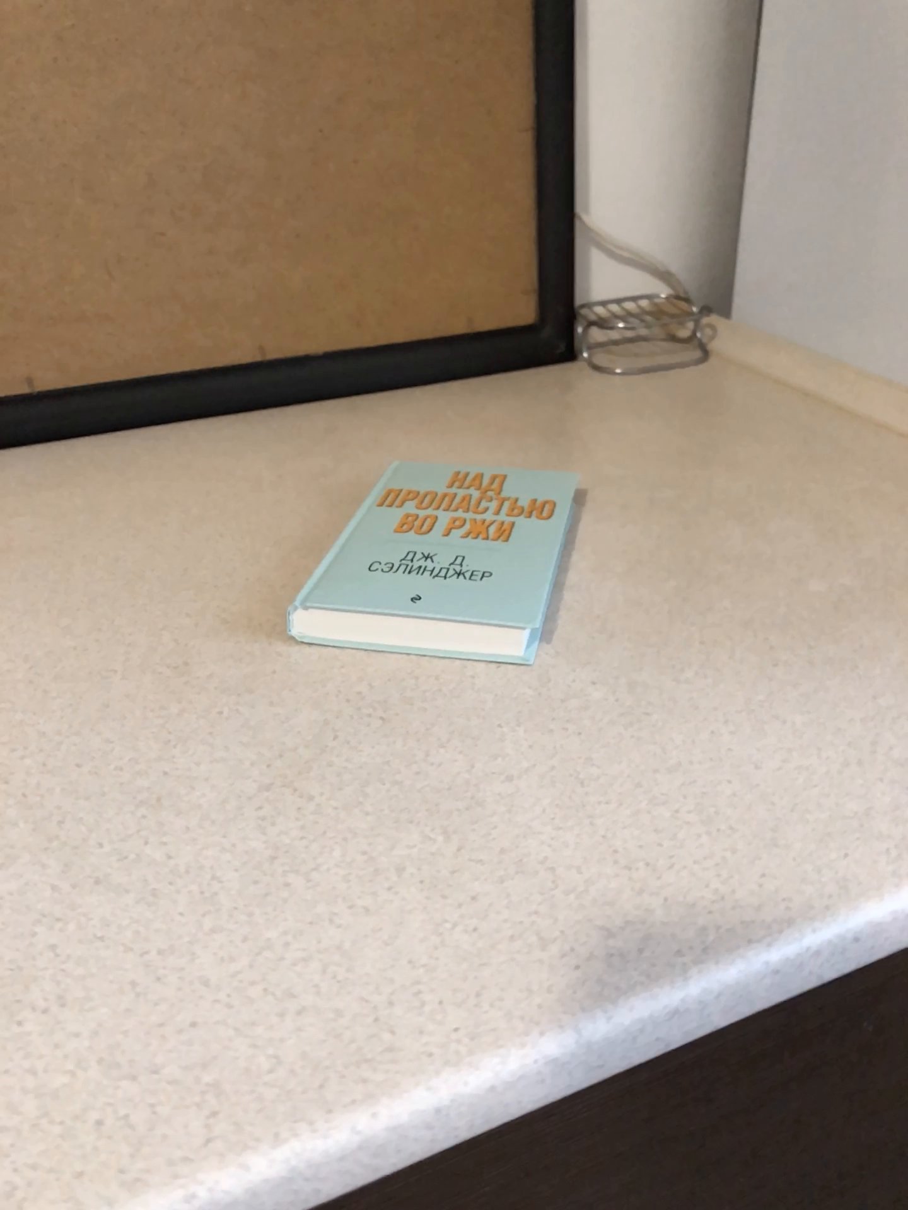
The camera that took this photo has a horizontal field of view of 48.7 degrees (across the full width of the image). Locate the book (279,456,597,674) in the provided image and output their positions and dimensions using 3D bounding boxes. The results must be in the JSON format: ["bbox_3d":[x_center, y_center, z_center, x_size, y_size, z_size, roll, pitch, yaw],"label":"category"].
[{"bbox_3d":[0.002,-0.029,0.503,0.118,0.020,0.181,5,30,12],"label":"book"}]
